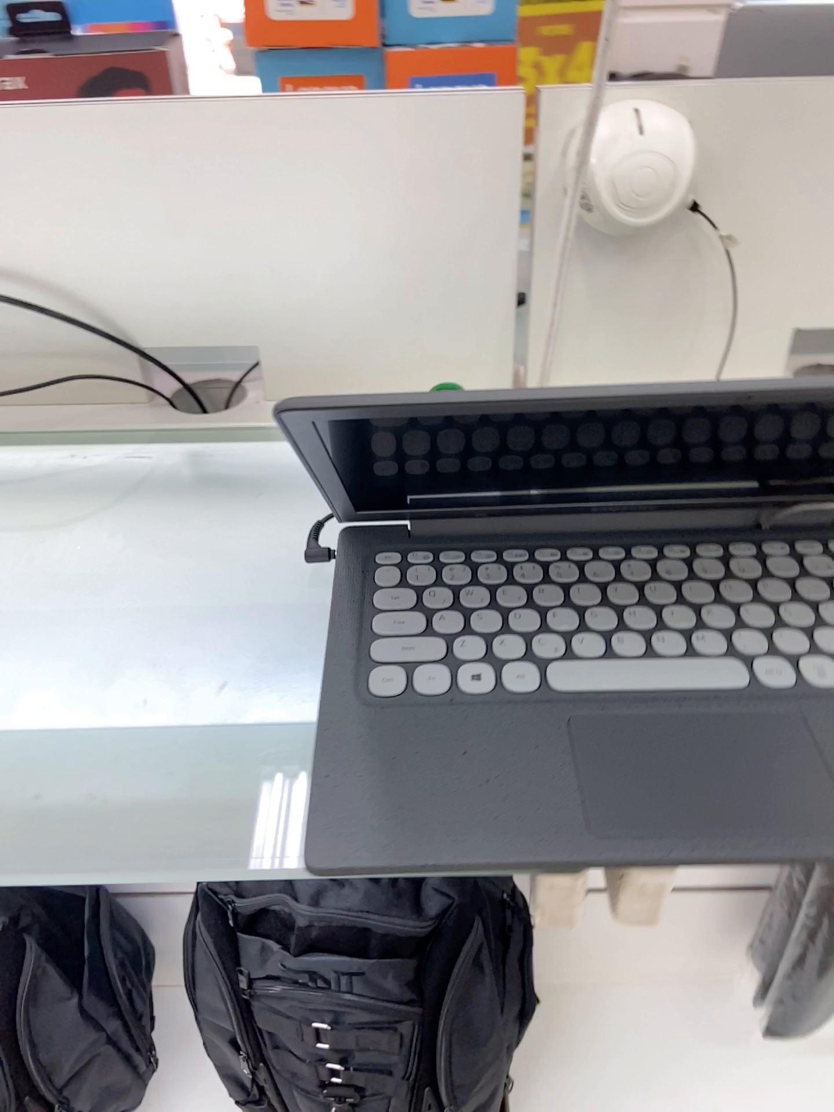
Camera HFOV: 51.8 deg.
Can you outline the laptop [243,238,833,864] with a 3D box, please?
[{"bbox_3d":[0.111,-0.014,0.359,0.311,0.153,0.209,-2,37,1],"label":"laptop"}]
